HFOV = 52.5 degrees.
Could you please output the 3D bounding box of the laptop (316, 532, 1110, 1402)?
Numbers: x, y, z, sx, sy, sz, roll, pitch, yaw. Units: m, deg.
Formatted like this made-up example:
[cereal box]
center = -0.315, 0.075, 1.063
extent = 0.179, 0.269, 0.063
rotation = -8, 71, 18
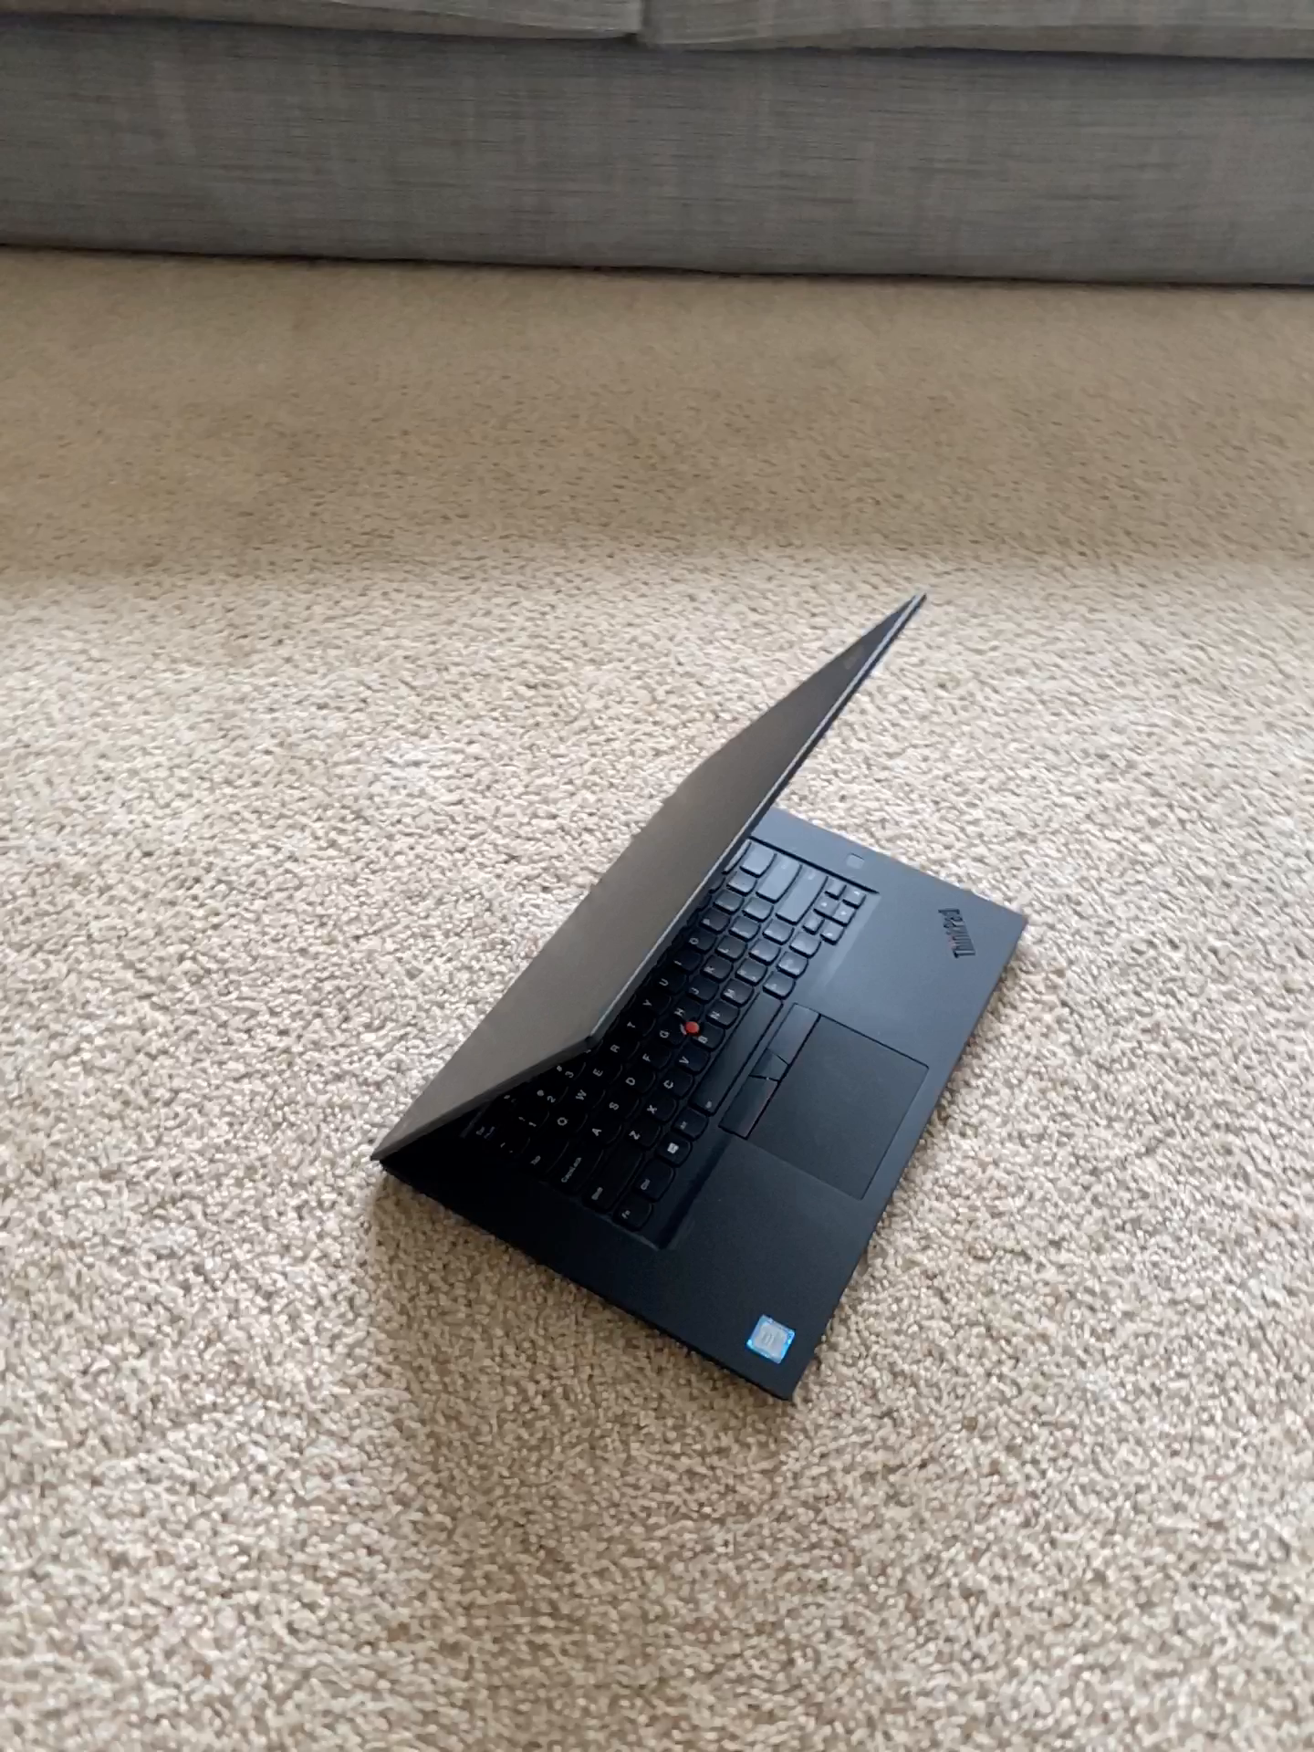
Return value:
[laptop]
center = 0.043, 0.025, 0.711
extent = 0.243, 0.198, 0.356
rotation = 25, 50, 17
